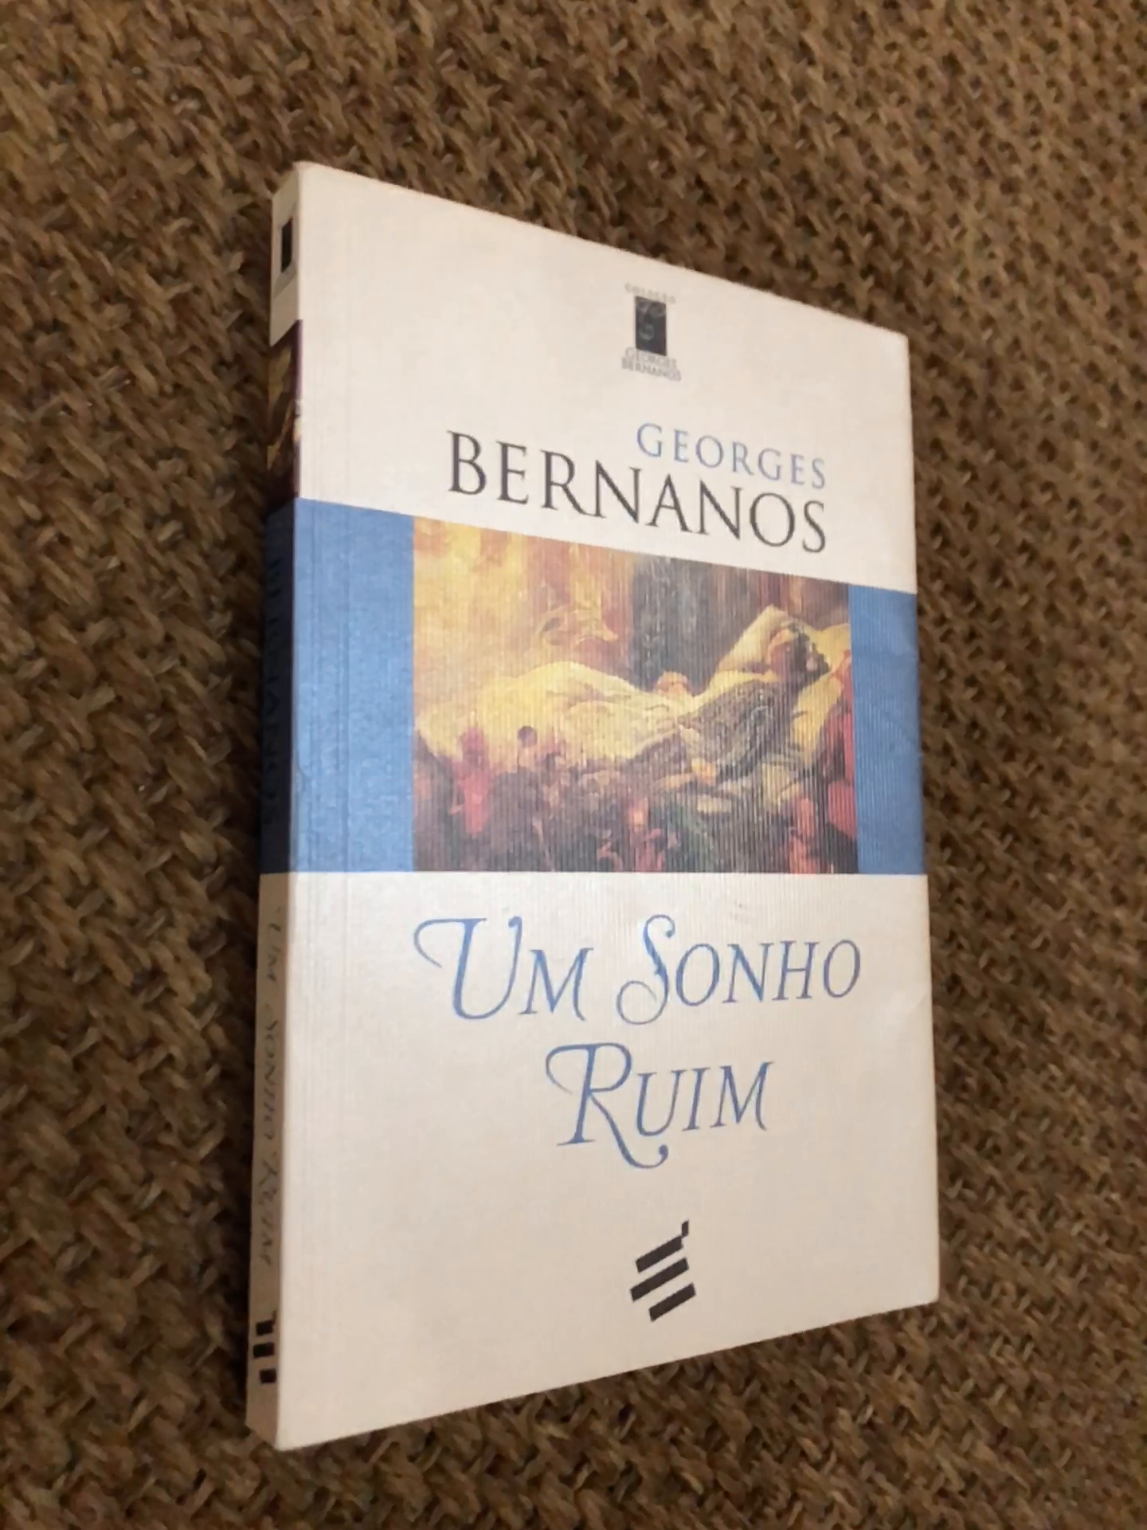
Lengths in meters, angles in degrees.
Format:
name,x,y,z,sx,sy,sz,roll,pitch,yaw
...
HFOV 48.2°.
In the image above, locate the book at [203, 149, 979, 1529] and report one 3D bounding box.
name,x,y,z,sx,sy,sz,roll,pitch,yaw
book,0.010,0.010,0.227,0.141,0.020,0.199,3,83,-30
